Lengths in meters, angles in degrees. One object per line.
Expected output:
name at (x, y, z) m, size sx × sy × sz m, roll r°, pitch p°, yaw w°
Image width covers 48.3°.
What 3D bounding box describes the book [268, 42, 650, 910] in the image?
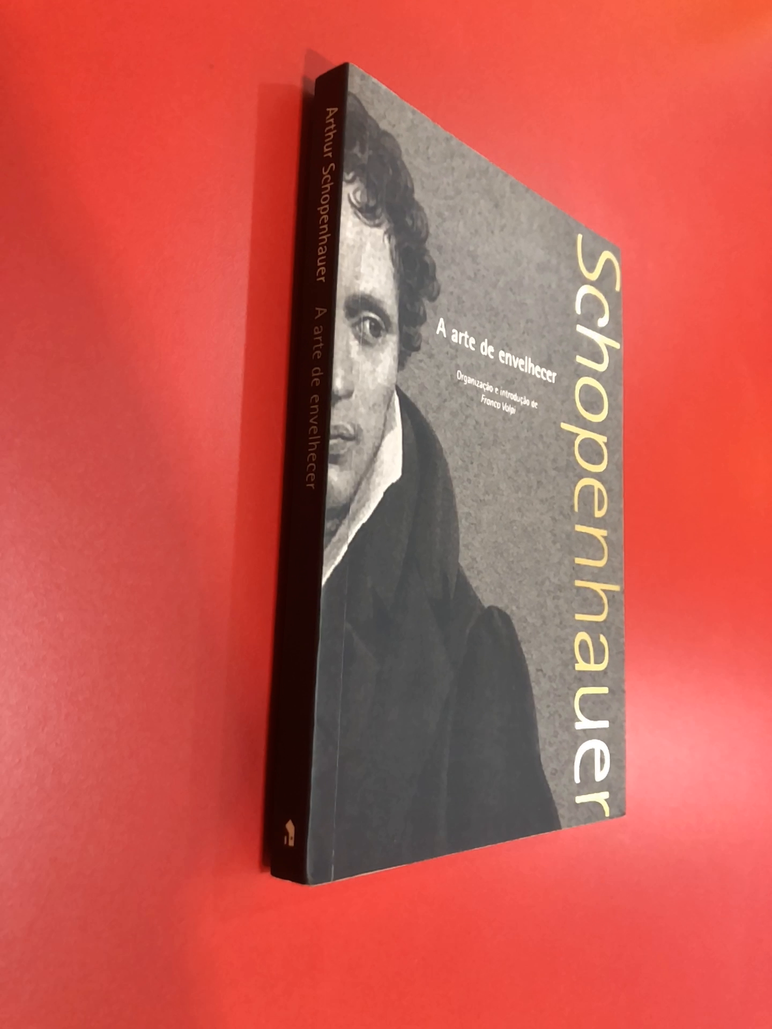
book at (0.033, -0.006, 0.245) m, size 0.138 × 0.017 × 0.196 m, roll 11°, pitch 79°, yaw -45°
